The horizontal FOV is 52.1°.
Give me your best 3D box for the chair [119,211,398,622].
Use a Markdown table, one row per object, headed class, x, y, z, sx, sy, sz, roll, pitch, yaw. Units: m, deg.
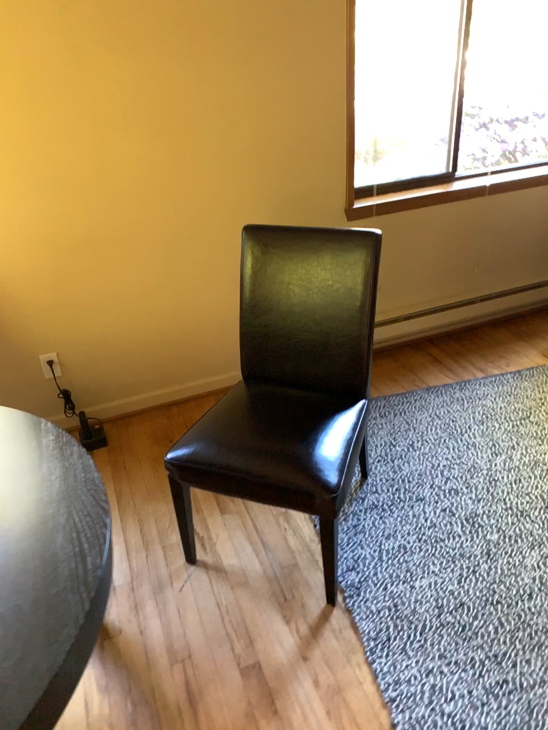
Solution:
| class | x | y | z | sx | sy | sz | roll | pitch | yaw |
| --- | --- | --- | --- | --- | --- | --- | --- | --- | --- |
| chair | 0.034 | 0.128 | 1.793 | 0.561 | 1.034 | 0.673 | 7 | 32 | 19 |
